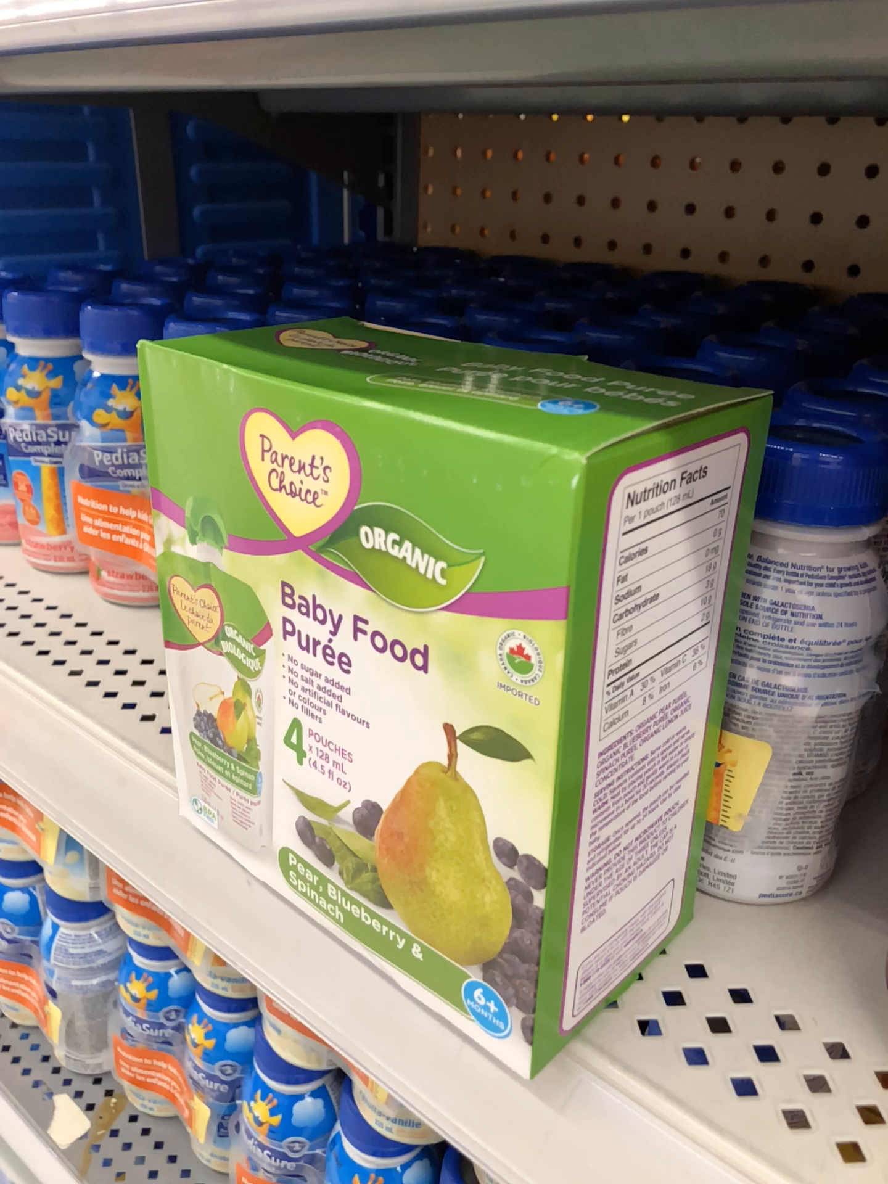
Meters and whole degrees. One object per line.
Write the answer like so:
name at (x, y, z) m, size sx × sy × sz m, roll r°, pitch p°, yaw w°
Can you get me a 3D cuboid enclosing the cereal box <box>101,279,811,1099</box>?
cereal box at (-0.005, 0.009, 0.272) m, size 0.150 × 0.159 × 0.090 m, roll 22°, pitch 31°, yaw 36°
